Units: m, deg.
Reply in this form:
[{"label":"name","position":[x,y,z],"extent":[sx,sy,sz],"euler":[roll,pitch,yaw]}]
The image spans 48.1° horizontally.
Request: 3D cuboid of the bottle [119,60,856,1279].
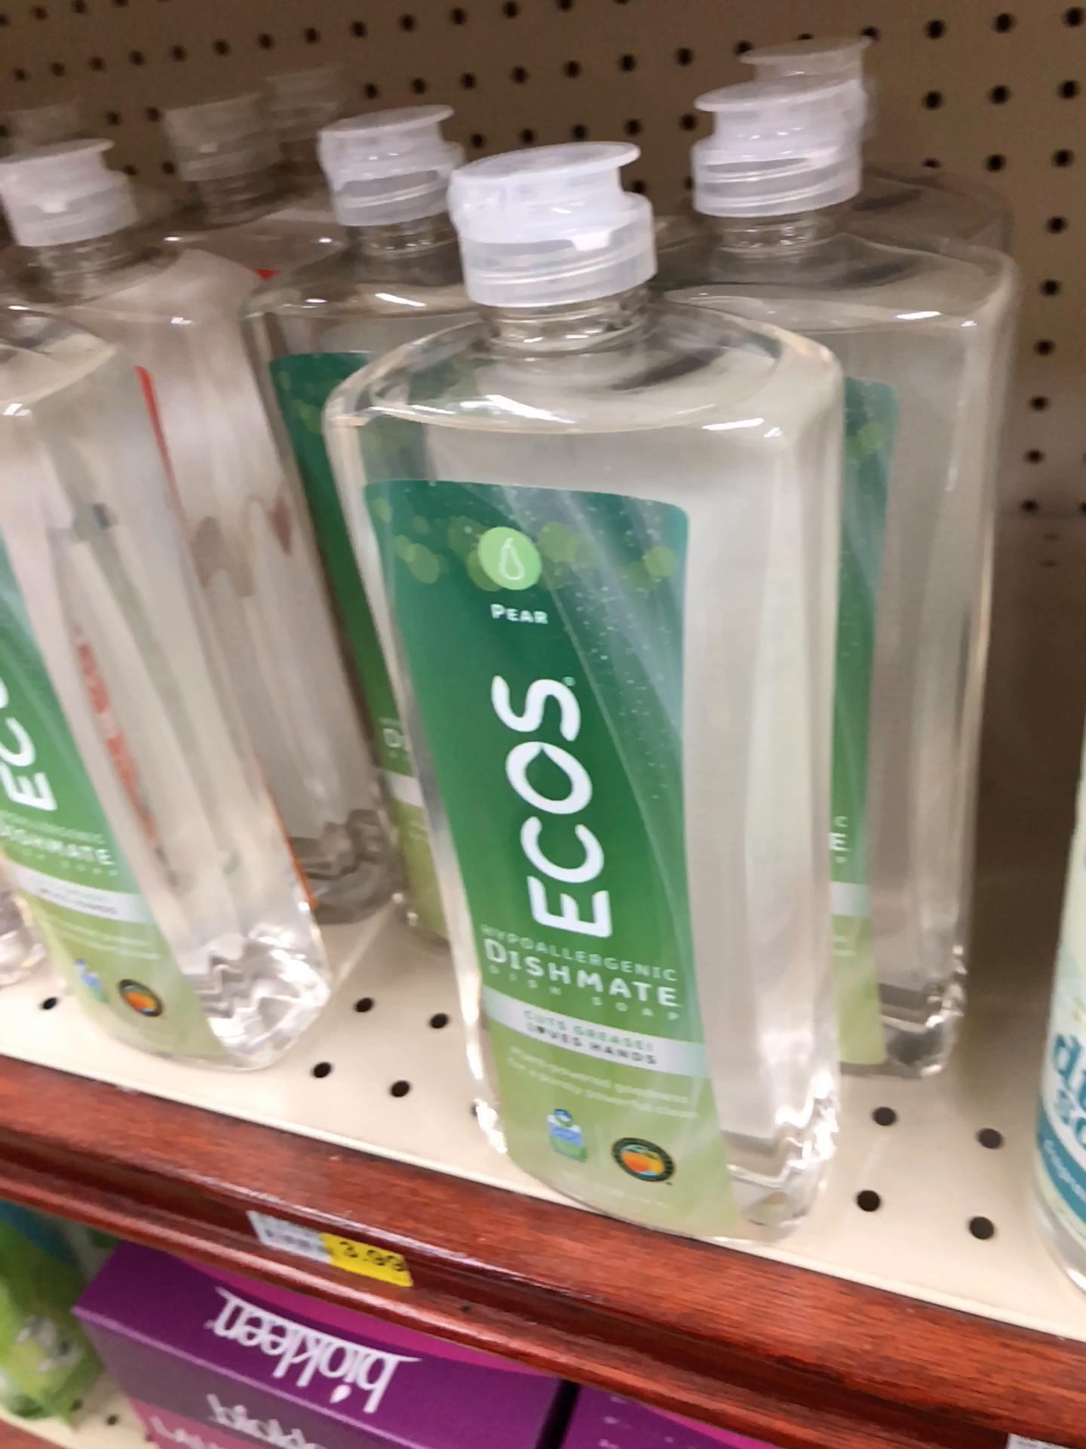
[{"label":"bottle","position":[0.008,0.007,0.235],"extent":[0.092,0.226,0.050],"euler":[9,39,25]}]
